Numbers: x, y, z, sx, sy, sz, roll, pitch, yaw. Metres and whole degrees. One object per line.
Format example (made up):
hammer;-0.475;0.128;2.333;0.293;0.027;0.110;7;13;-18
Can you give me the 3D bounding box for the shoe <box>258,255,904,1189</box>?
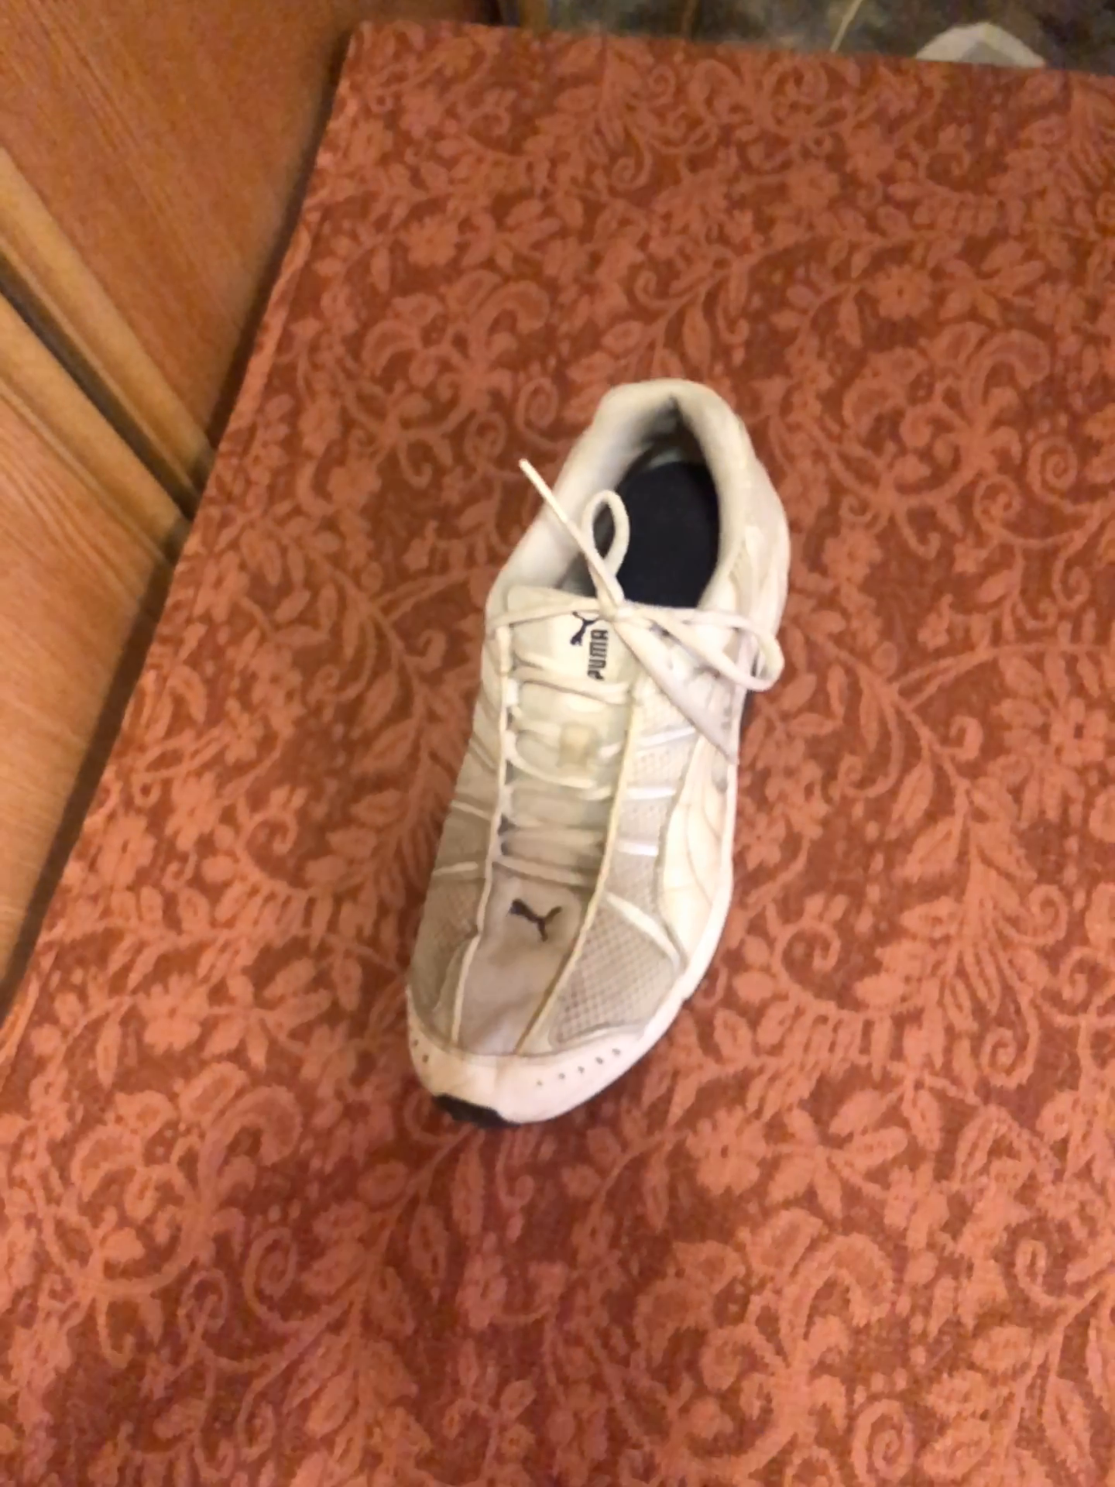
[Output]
shoe;0.021;-0.011;0.436;0.120;0.100;0.290;15;73;14
